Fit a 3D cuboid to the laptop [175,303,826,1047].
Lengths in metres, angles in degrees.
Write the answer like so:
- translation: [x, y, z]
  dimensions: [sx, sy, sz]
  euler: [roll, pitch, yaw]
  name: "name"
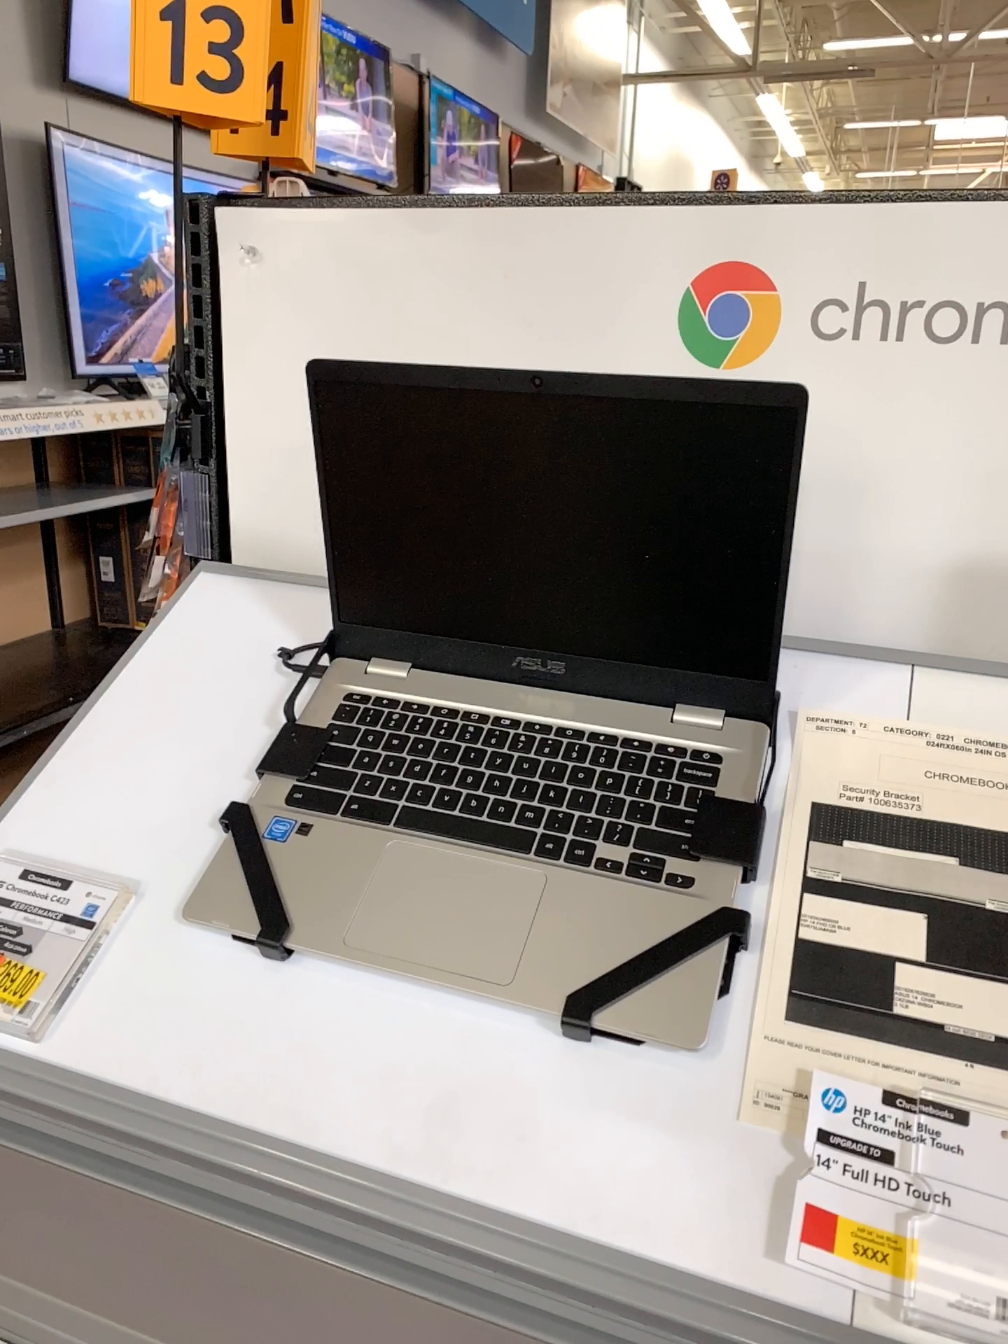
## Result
- translation: [0.009, -0.038, 0.634]
  dimensions: [0.308, 0.196, 0.293]
  euler: [9, 39, 18]
  name: "laptop"
